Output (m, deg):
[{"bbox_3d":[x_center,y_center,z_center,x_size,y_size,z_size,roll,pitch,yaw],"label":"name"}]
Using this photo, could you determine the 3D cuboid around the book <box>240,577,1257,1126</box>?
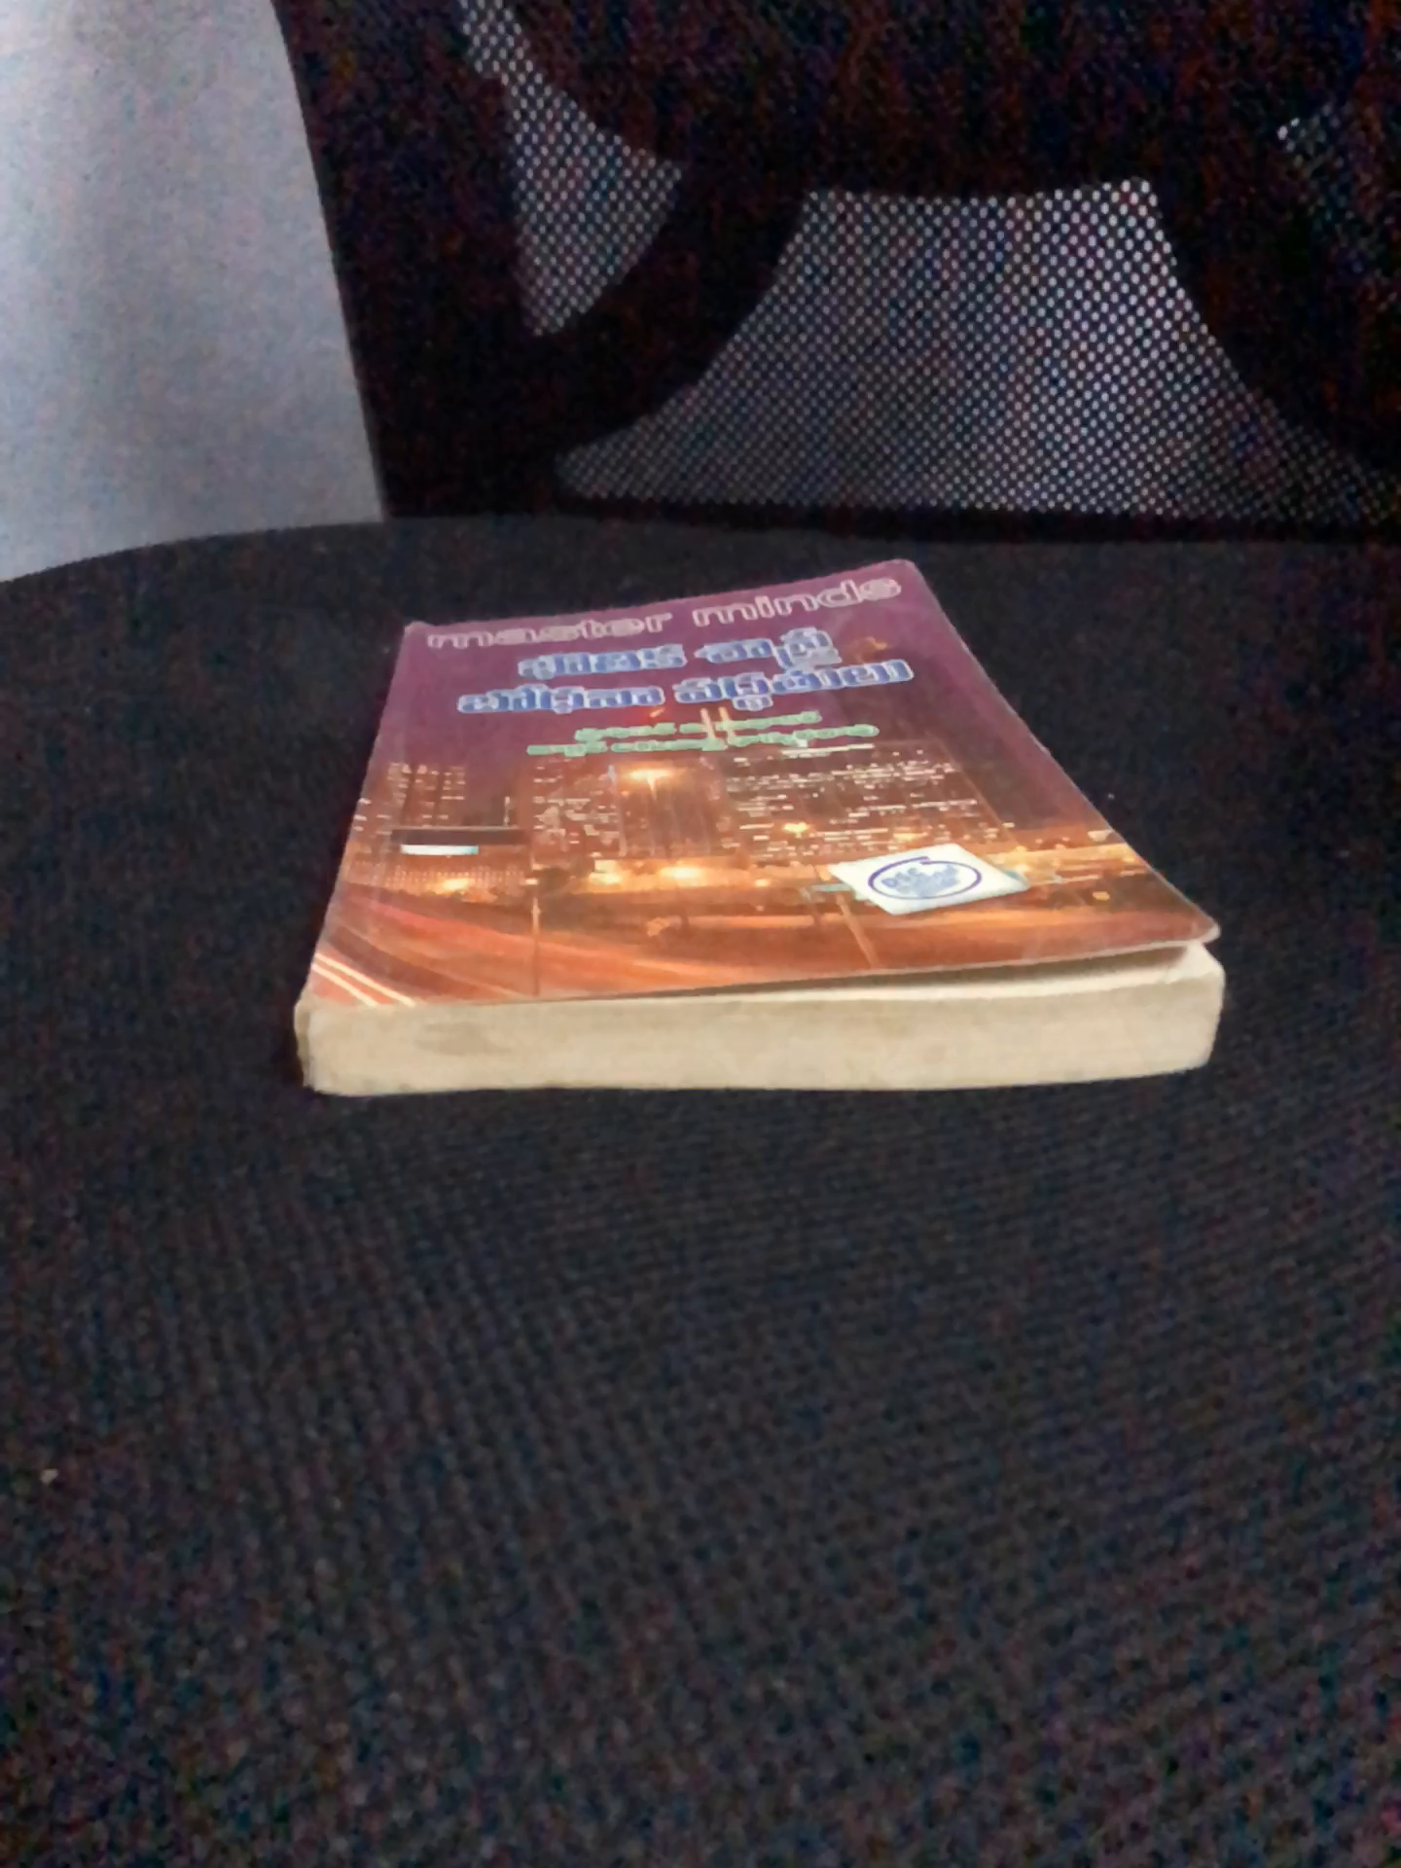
[{"bbox_3d":[-0.003,-0.035,0.323,0.145,0.027,0.220,-1,26,-6],"label":"book"}]
